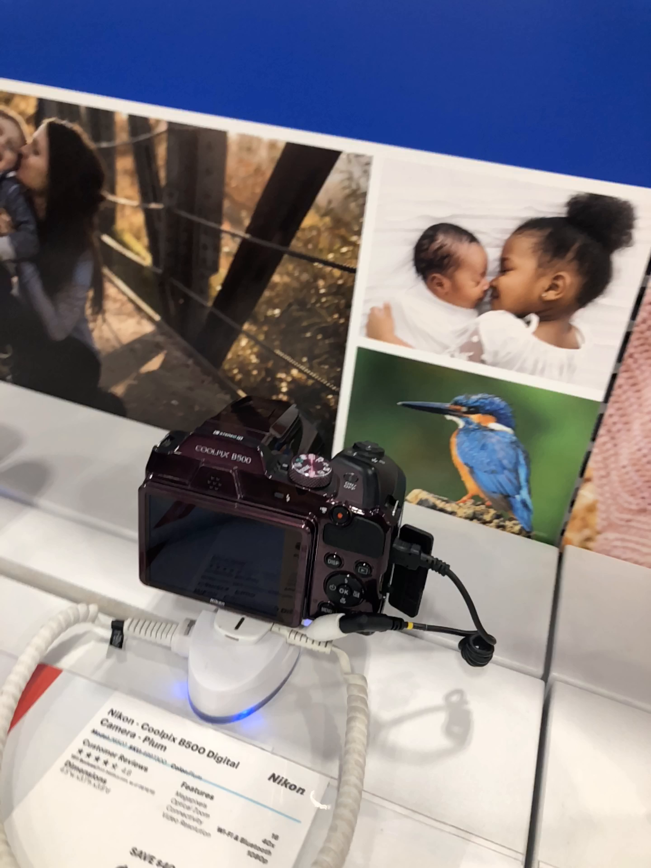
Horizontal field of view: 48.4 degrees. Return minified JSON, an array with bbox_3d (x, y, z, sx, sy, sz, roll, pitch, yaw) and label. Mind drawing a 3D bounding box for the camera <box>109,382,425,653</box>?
[{"bbox_3d":[-0.024,0.032,0.349,0.120,0.060,0.101,13,27,11],"label":"camera"}]
